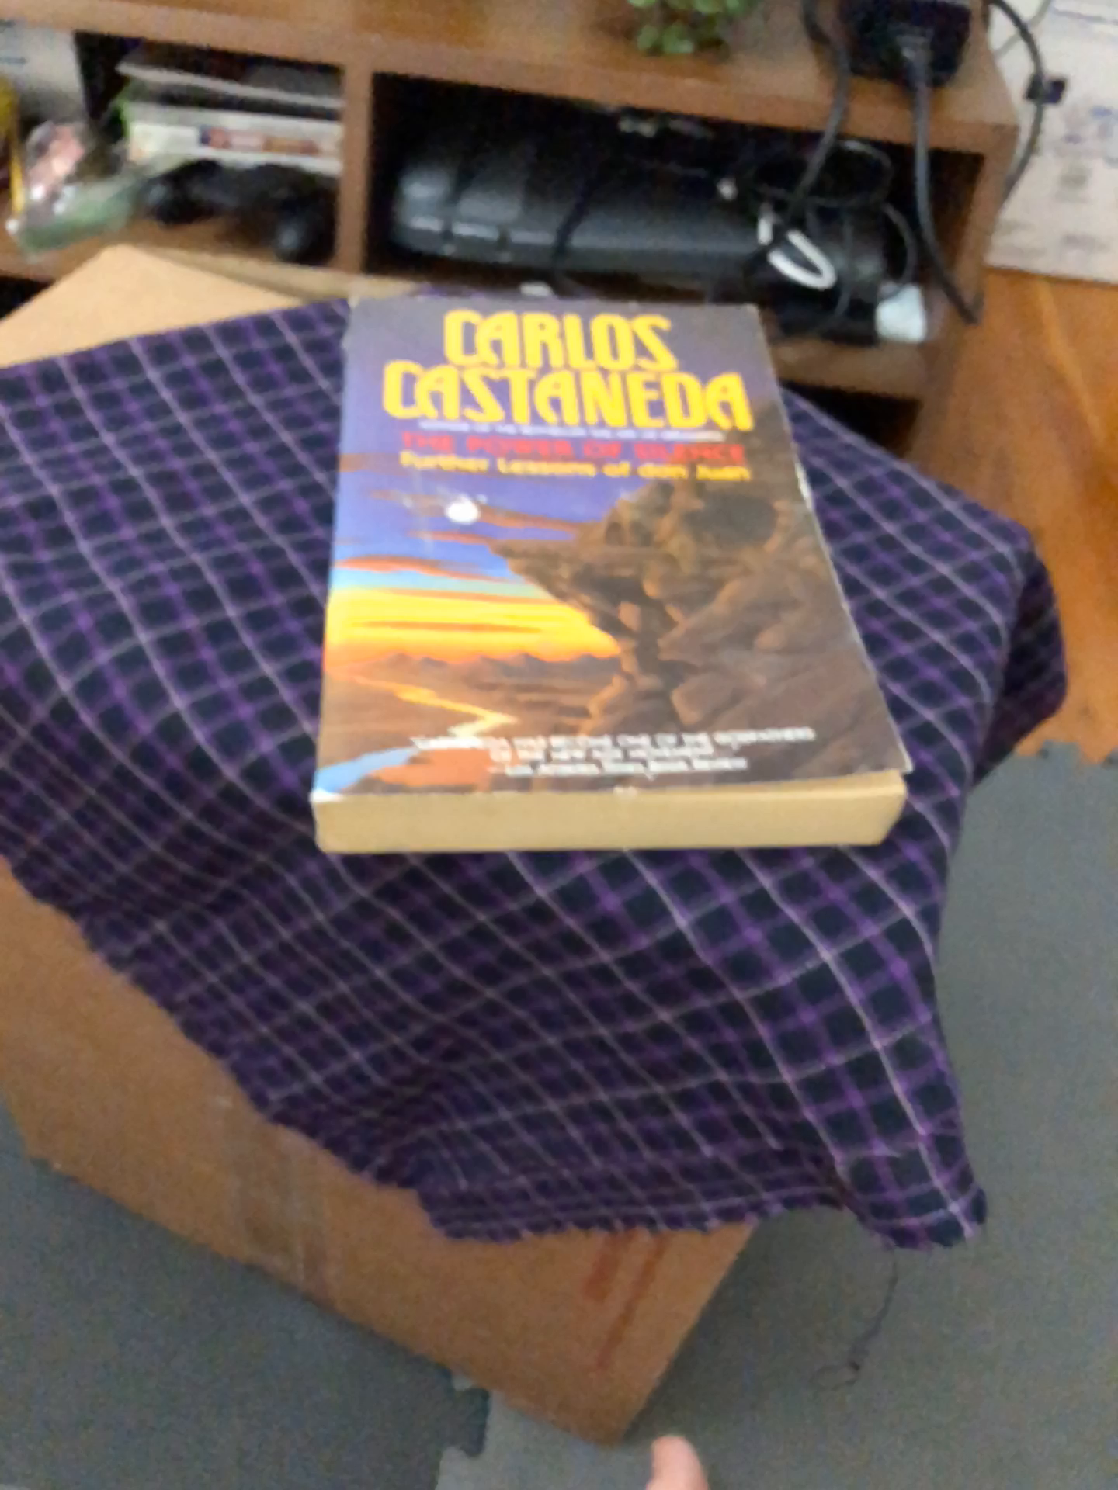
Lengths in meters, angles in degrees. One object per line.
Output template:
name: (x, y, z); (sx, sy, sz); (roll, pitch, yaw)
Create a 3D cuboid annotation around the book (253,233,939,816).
book: (0.003, -0.075, 0.351); (0.150, 0.020, 0.221); (1, 50, -6)
